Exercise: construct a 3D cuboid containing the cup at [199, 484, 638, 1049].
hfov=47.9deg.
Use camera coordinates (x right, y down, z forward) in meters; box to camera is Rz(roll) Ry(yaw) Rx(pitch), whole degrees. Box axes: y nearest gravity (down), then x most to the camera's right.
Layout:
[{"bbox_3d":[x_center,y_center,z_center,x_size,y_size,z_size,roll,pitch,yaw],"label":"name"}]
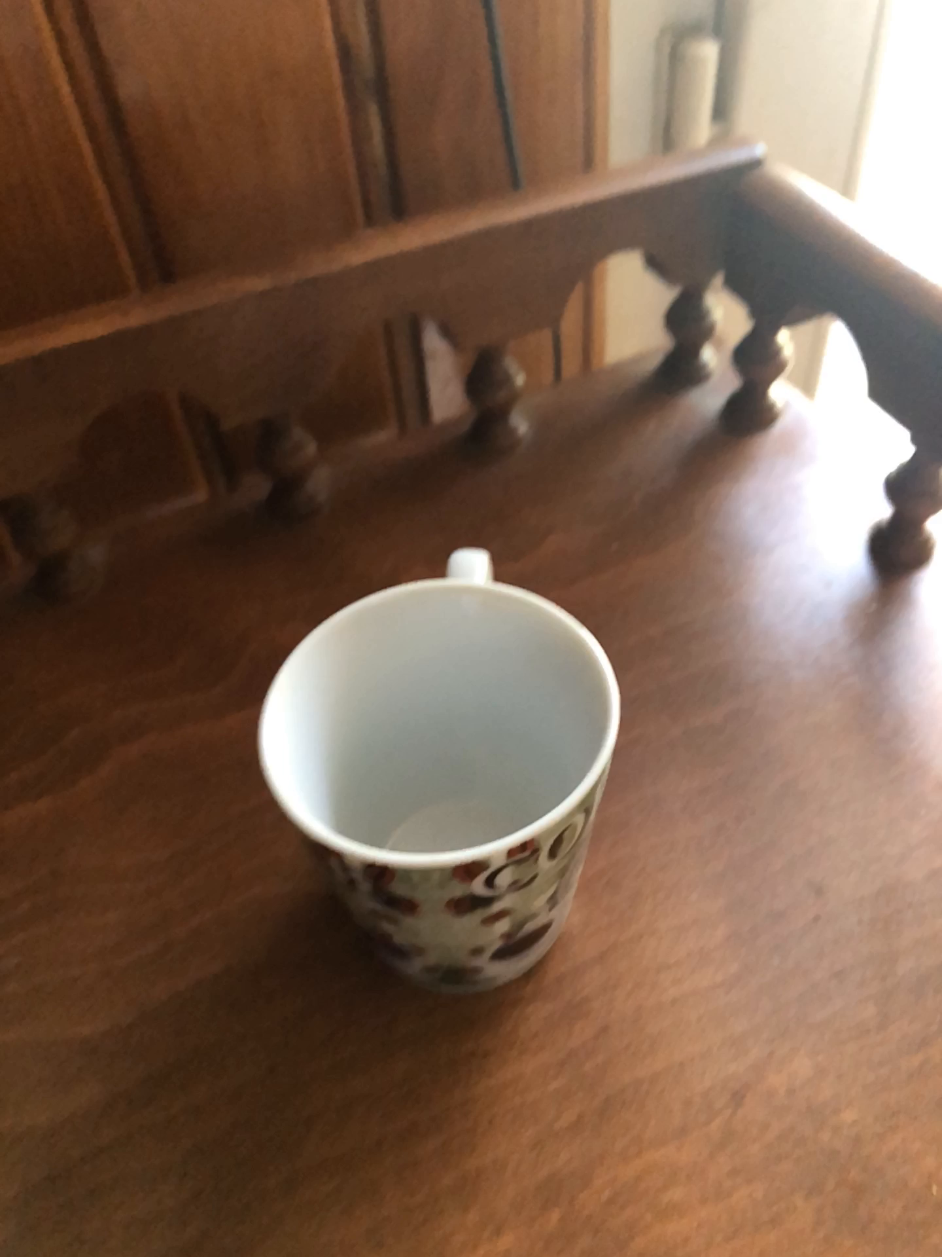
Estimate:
[{"bbox_3d":[-0.003,0.023,0.193,0.060,0.060,0.081,0,48,6],"label":"cup"}]
